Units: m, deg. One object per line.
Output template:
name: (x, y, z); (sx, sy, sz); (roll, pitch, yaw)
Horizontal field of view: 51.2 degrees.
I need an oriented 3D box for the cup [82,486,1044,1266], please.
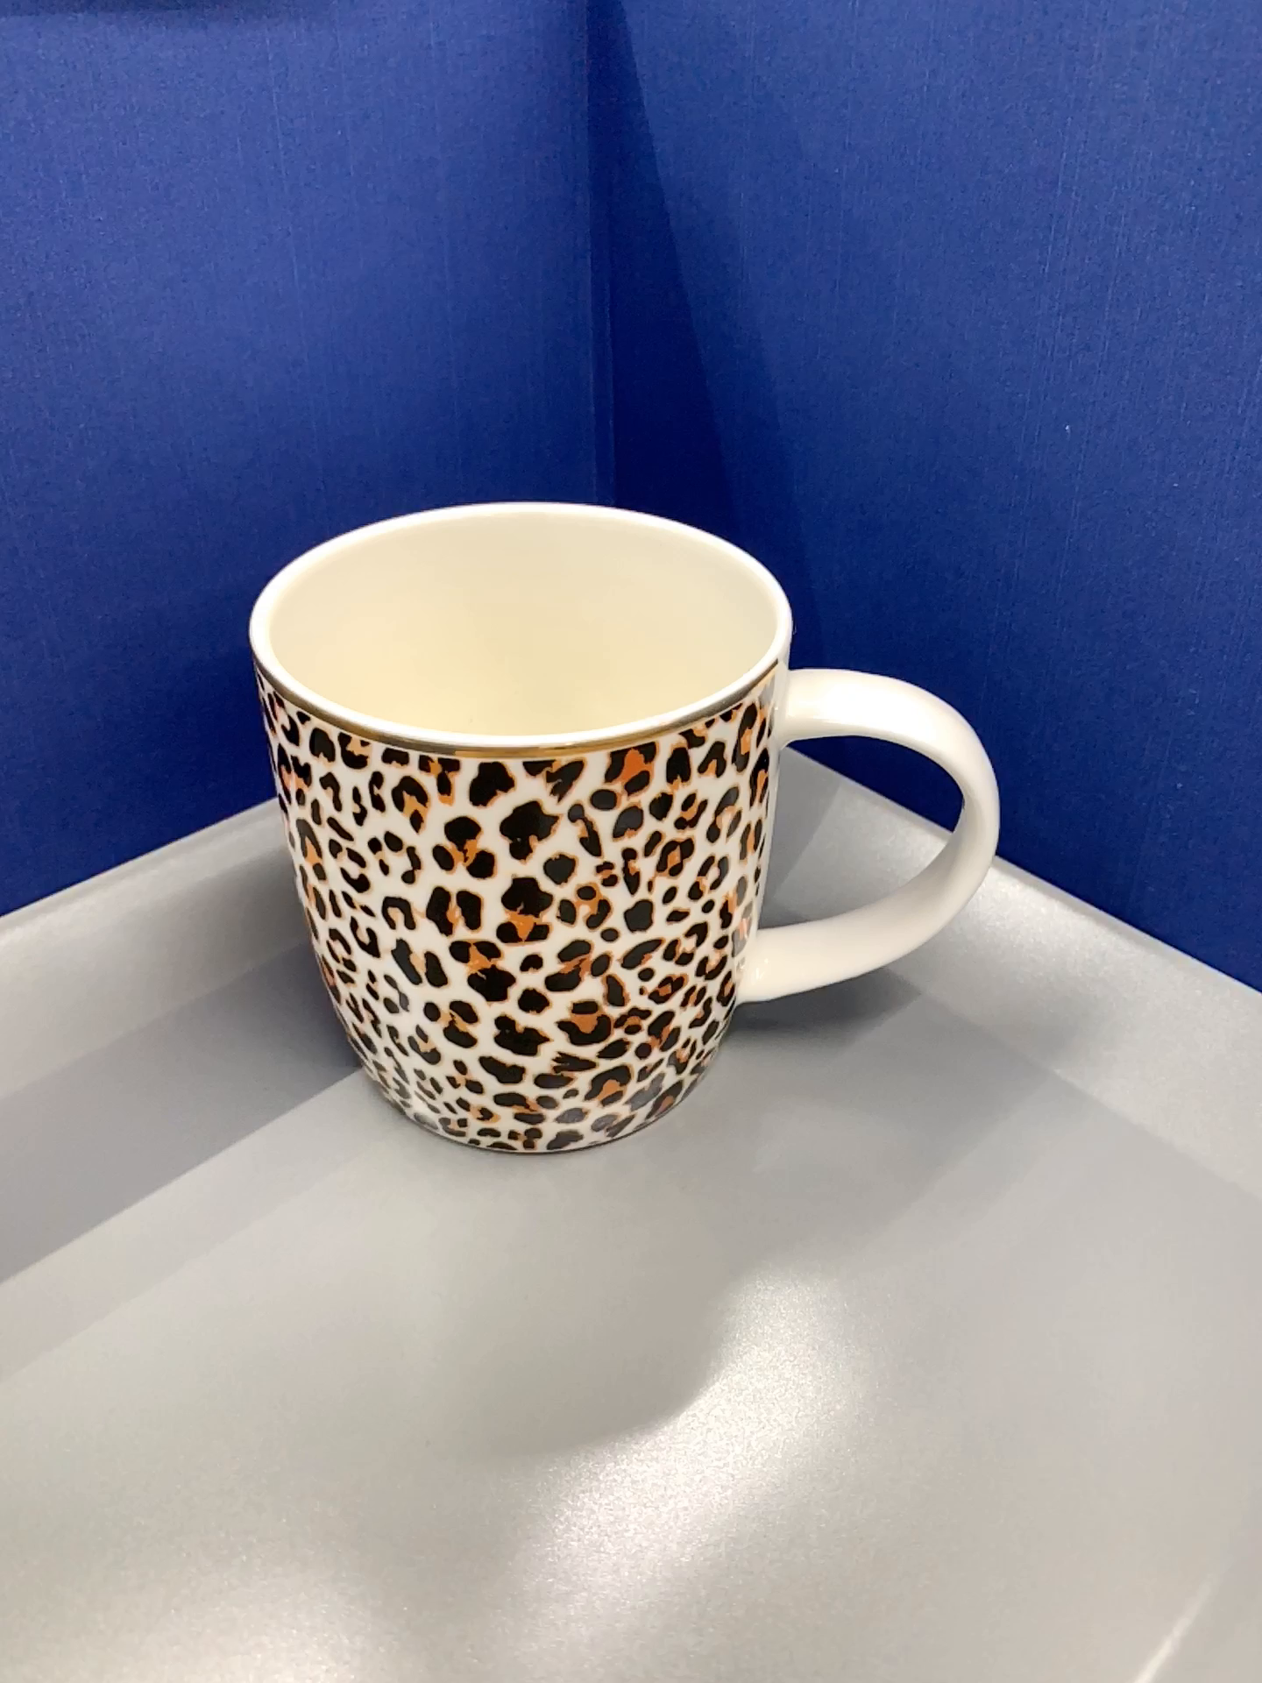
cup: (-0.006, 0.000, 0.238); (0.126, 0.095, 0.099); (3, 33, 4)
